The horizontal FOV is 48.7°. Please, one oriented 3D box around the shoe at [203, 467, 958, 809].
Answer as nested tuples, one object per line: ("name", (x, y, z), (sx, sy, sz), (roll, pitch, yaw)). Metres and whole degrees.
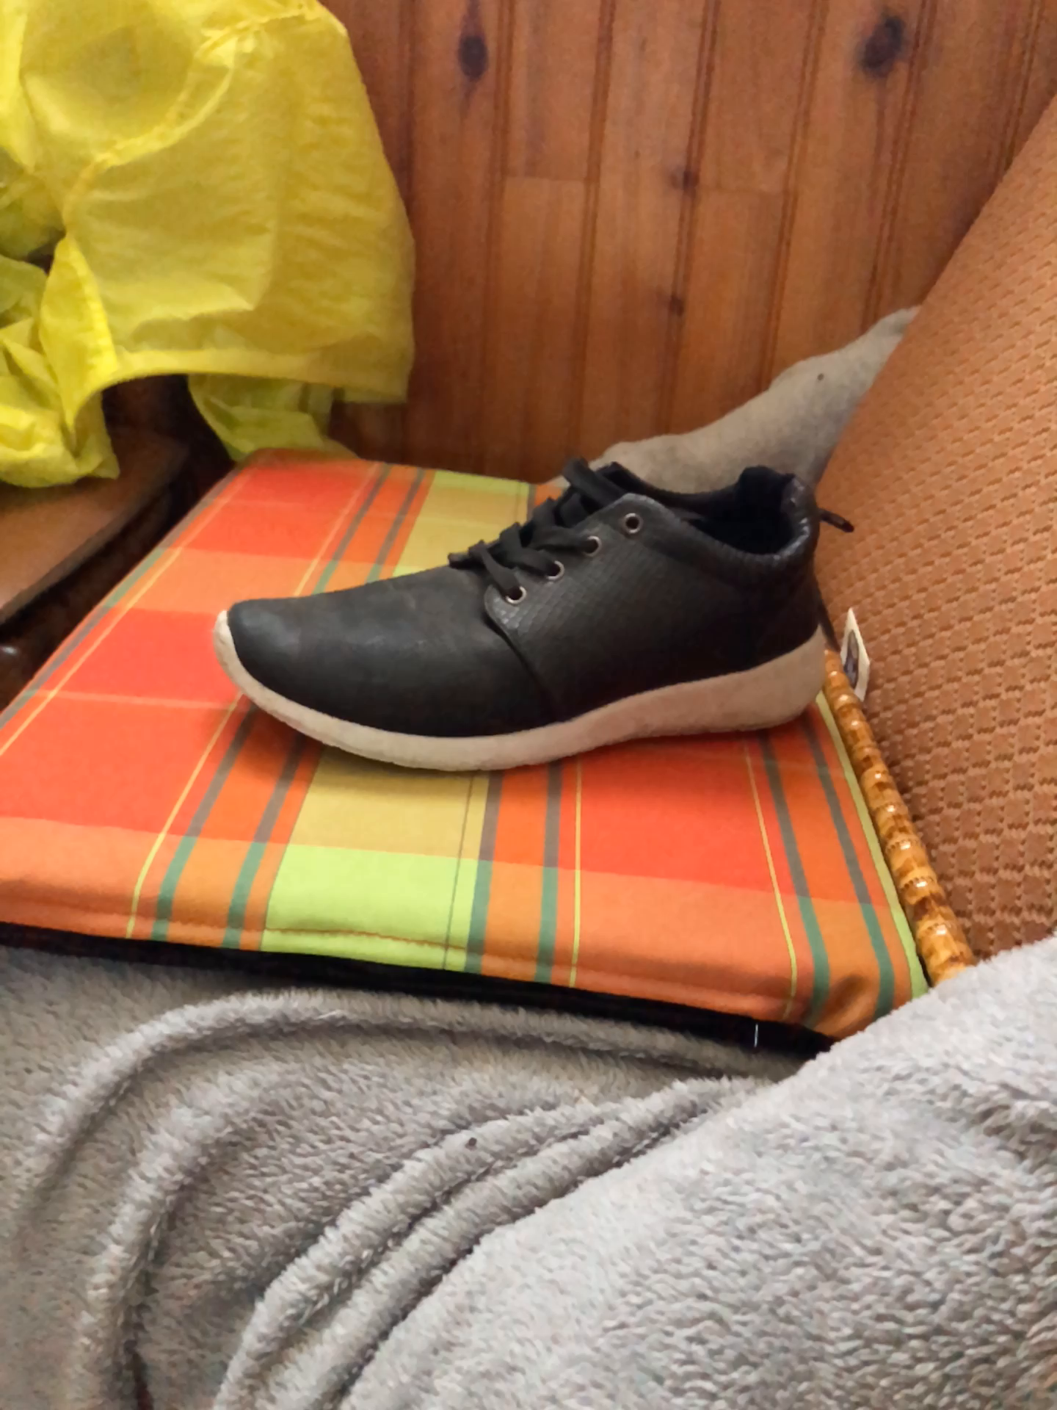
("shoe", (0.016, -0.037, 0.462), (0.267, 0.080, 0.110), (-5, 27, -19))
